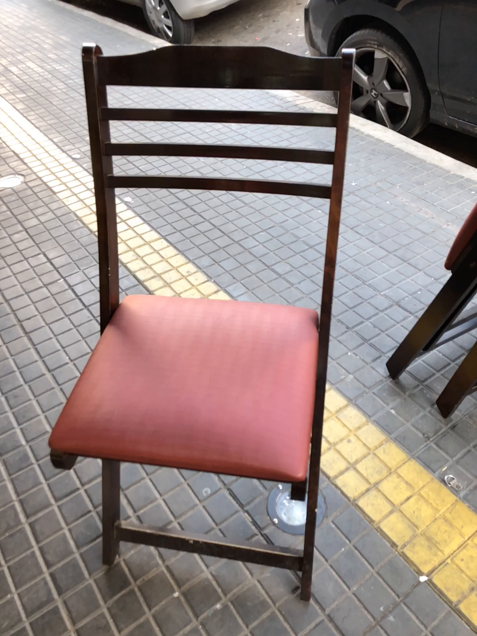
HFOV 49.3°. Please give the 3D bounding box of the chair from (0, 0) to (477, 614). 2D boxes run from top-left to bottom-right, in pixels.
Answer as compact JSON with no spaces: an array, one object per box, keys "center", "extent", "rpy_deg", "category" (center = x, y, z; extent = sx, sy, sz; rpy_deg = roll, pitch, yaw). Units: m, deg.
[{"center":[-0.030,0.025,0.836],"extent":[0.510,0.844,0.483],"rpy_deg":[5,44,10],"category":"chair"}]
